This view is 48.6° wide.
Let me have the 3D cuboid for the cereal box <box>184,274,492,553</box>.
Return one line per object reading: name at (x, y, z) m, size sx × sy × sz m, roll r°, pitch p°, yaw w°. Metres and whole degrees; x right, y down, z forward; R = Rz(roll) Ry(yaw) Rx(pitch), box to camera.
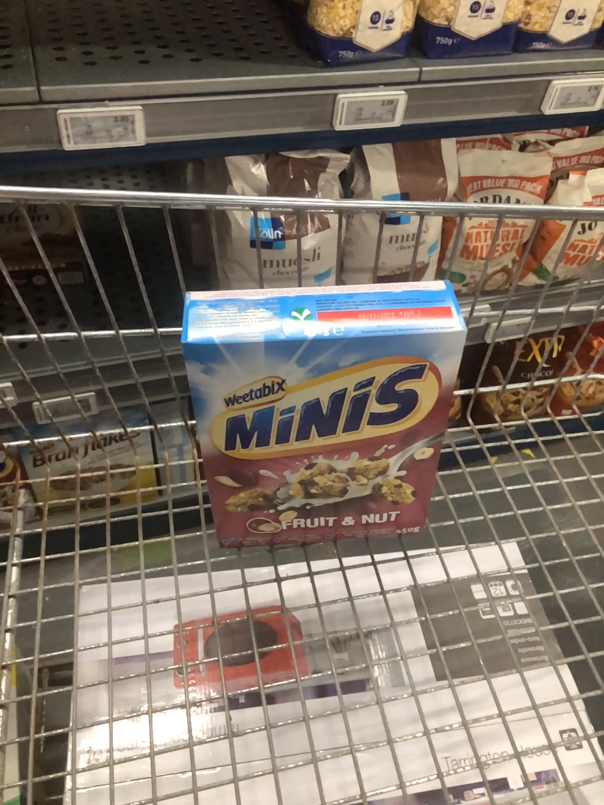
cereal box at (0.023, 0.022, 0.595) m, size 0.220 × 0.259 × 0.080 m, roll -4°, pitch 47°, yaw -4°
